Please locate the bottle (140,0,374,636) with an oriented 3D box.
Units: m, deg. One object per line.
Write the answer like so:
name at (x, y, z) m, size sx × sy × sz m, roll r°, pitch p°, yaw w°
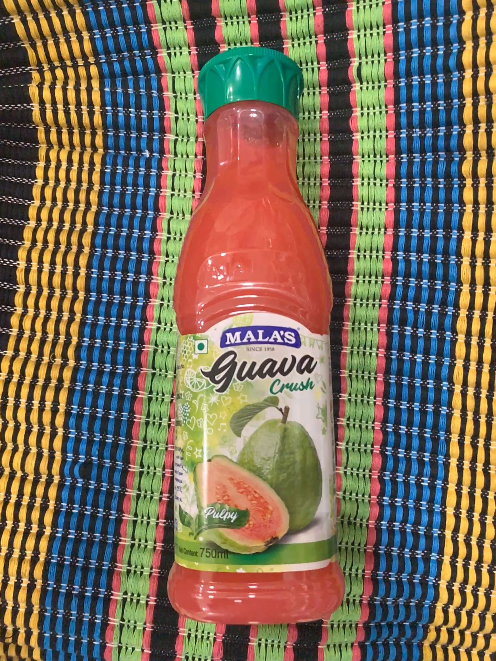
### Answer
bottle at (-0.001, -0.016, 0.241) m, size 0.080 × 0.080 × 0.260 m, roll -2°, pitch 78°, yaw 0°
